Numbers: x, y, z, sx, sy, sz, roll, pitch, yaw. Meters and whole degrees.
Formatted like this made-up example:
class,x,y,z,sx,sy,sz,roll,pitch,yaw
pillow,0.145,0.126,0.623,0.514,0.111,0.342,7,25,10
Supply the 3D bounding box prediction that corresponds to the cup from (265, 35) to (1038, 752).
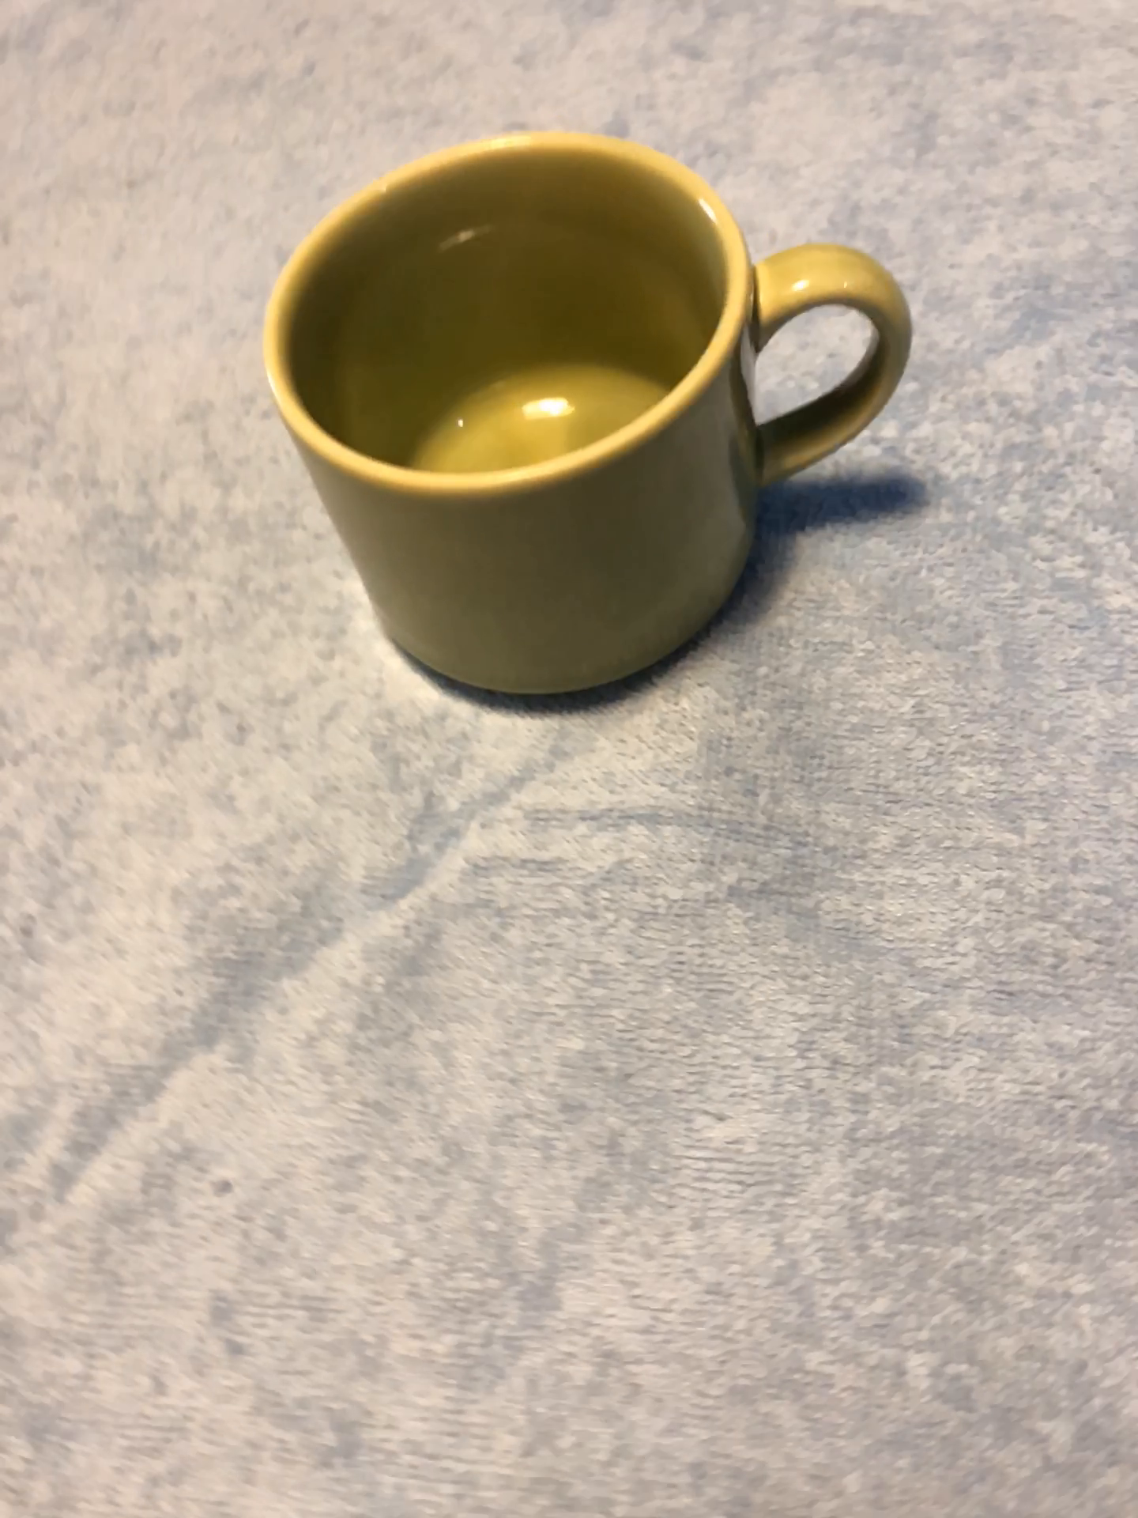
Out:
class,x,y,z,sx,sy,sz,roll,pitch,yaw
cup,0.009,-0.064,0.228,0.110,0.060,0.090,-9,60,3
